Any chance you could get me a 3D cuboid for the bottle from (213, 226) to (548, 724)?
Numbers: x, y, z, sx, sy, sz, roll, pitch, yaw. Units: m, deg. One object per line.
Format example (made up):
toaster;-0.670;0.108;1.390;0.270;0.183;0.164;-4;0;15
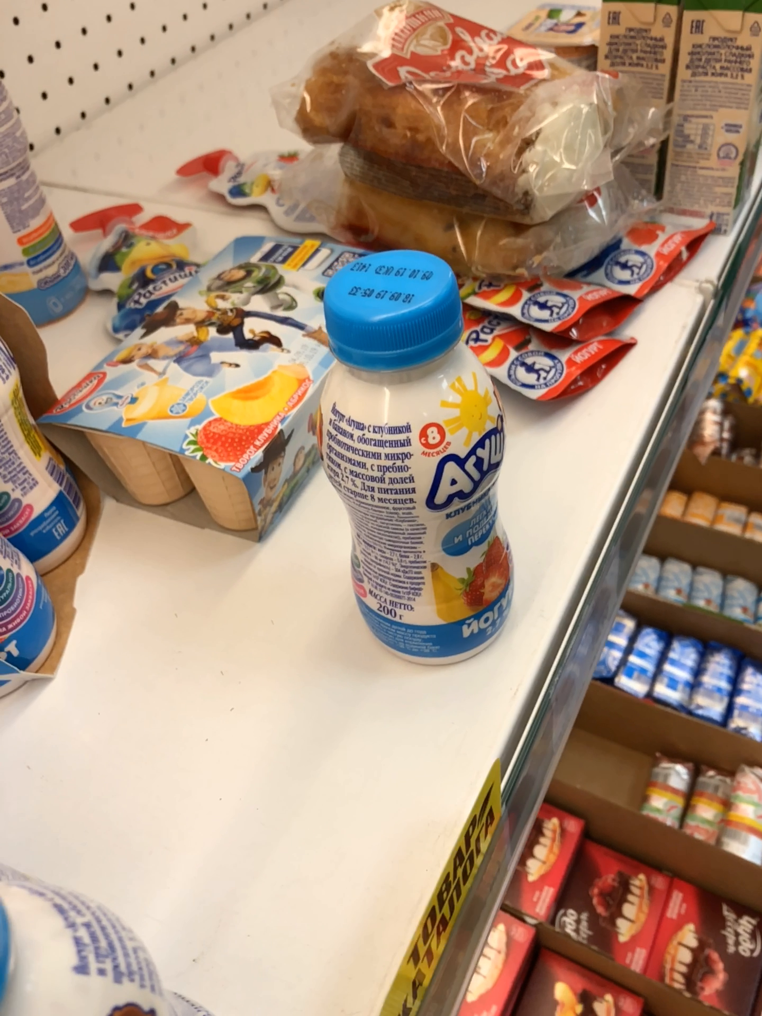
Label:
bottle;0.008;-0.006;0.255;0.060;0.129;0.060;-5;45;5
